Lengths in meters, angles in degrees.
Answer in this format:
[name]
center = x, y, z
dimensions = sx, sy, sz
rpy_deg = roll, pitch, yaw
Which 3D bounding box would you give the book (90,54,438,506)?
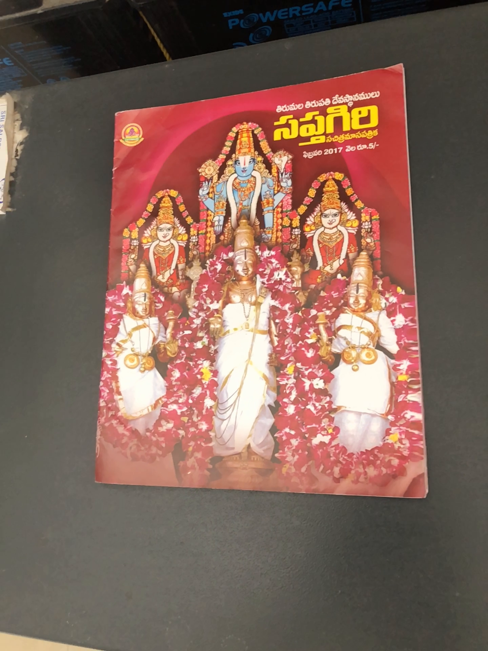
[book]
center = 0.007, -0.029, 0.341
dimensions = 0.200, 0.030, 0.260
rpy_deg = -3, 77, 17
